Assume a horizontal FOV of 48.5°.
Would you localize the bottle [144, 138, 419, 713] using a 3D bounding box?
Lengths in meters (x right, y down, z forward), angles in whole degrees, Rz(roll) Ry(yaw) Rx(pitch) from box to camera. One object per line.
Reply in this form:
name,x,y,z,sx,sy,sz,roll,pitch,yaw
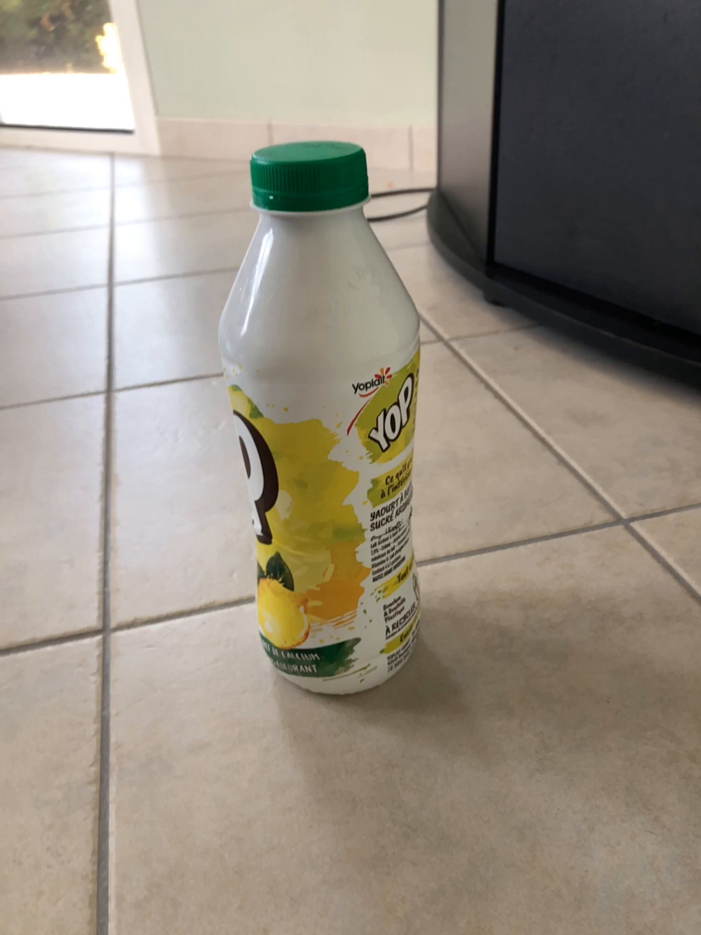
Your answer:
bottle,-0.014,-0.009,0.331,0.080,0.229,0.081,-3,31,2
